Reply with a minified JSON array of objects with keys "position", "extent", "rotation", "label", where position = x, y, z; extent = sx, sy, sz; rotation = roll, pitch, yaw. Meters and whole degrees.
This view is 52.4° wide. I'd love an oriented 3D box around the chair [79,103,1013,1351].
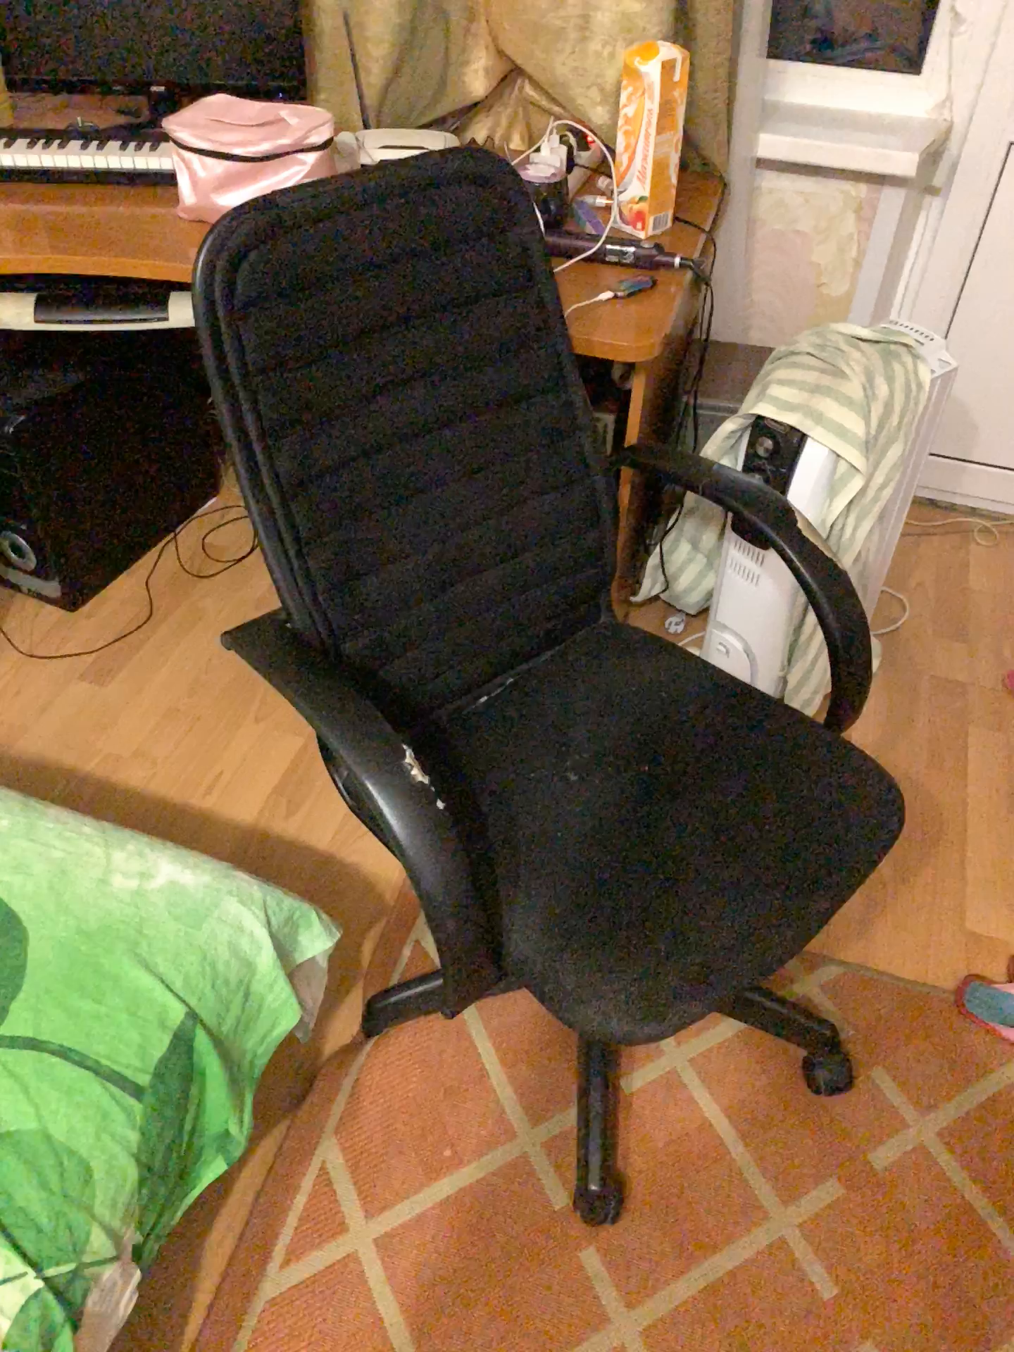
[{"position":[0.128,0.051,1.139],"extent":[0.673,0.991,0.723],"rotation":[-30,51,-30],"label":"chair"}]
